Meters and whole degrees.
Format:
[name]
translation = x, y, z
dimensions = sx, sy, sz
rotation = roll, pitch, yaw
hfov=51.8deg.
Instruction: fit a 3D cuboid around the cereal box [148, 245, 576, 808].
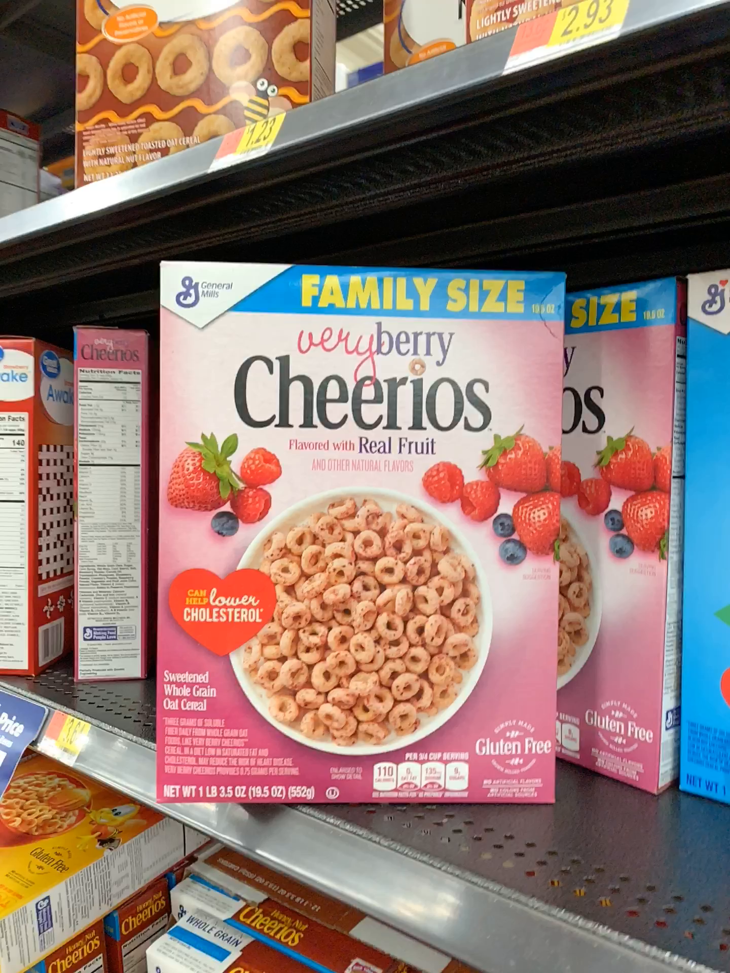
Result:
[cereal box]
translation = -0.002, 0.024, 0.462
dimensions = 0.240, 0.320, 0.060
rotation = 1, 1, -2
